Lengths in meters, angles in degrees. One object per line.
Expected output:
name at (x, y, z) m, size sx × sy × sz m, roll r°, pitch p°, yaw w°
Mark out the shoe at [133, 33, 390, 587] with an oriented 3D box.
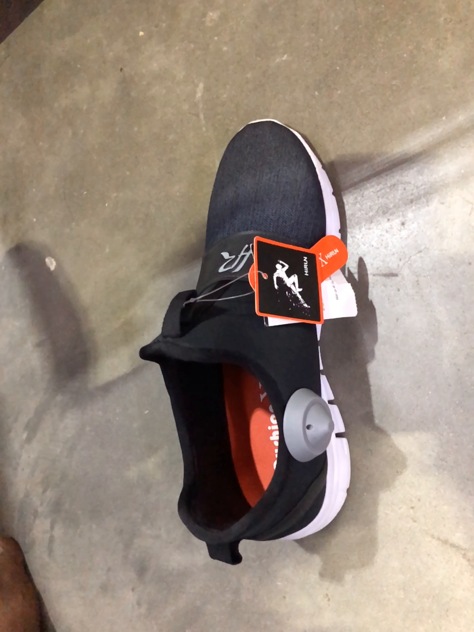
shoe at (0.018, -0.002, 0.333) m, size 0.100 × 0.130 × 0.270 m, roll -7°, pitch 81°, yaw 30°
